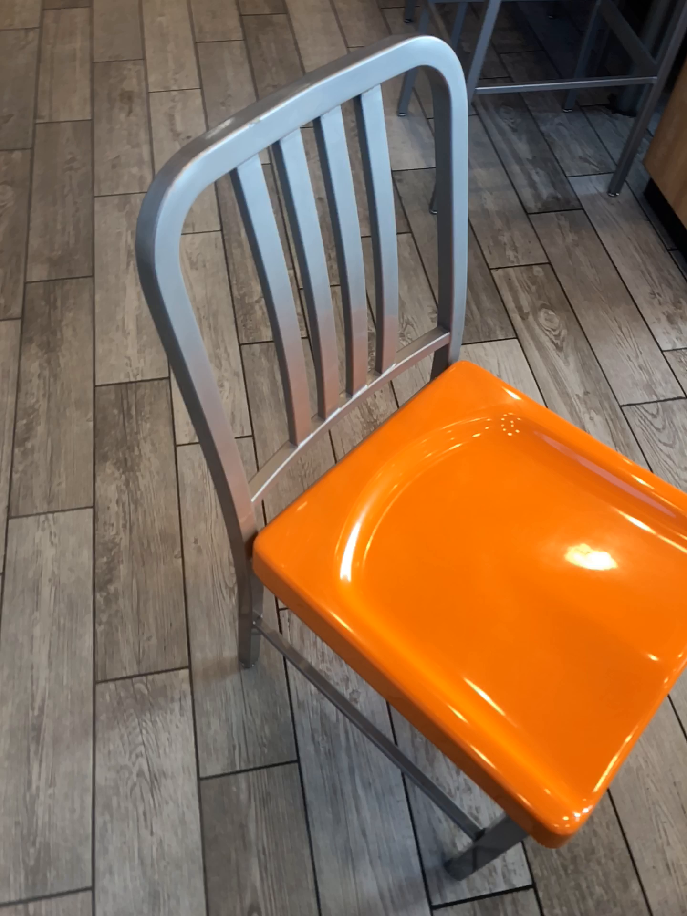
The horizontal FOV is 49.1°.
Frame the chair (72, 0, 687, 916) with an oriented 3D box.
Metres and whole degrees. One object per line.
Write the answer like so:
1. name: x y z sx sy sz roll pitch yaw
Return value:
1. chair: 0.169 0.068 0.795 0.510 0.818 0.471 39 63 21
